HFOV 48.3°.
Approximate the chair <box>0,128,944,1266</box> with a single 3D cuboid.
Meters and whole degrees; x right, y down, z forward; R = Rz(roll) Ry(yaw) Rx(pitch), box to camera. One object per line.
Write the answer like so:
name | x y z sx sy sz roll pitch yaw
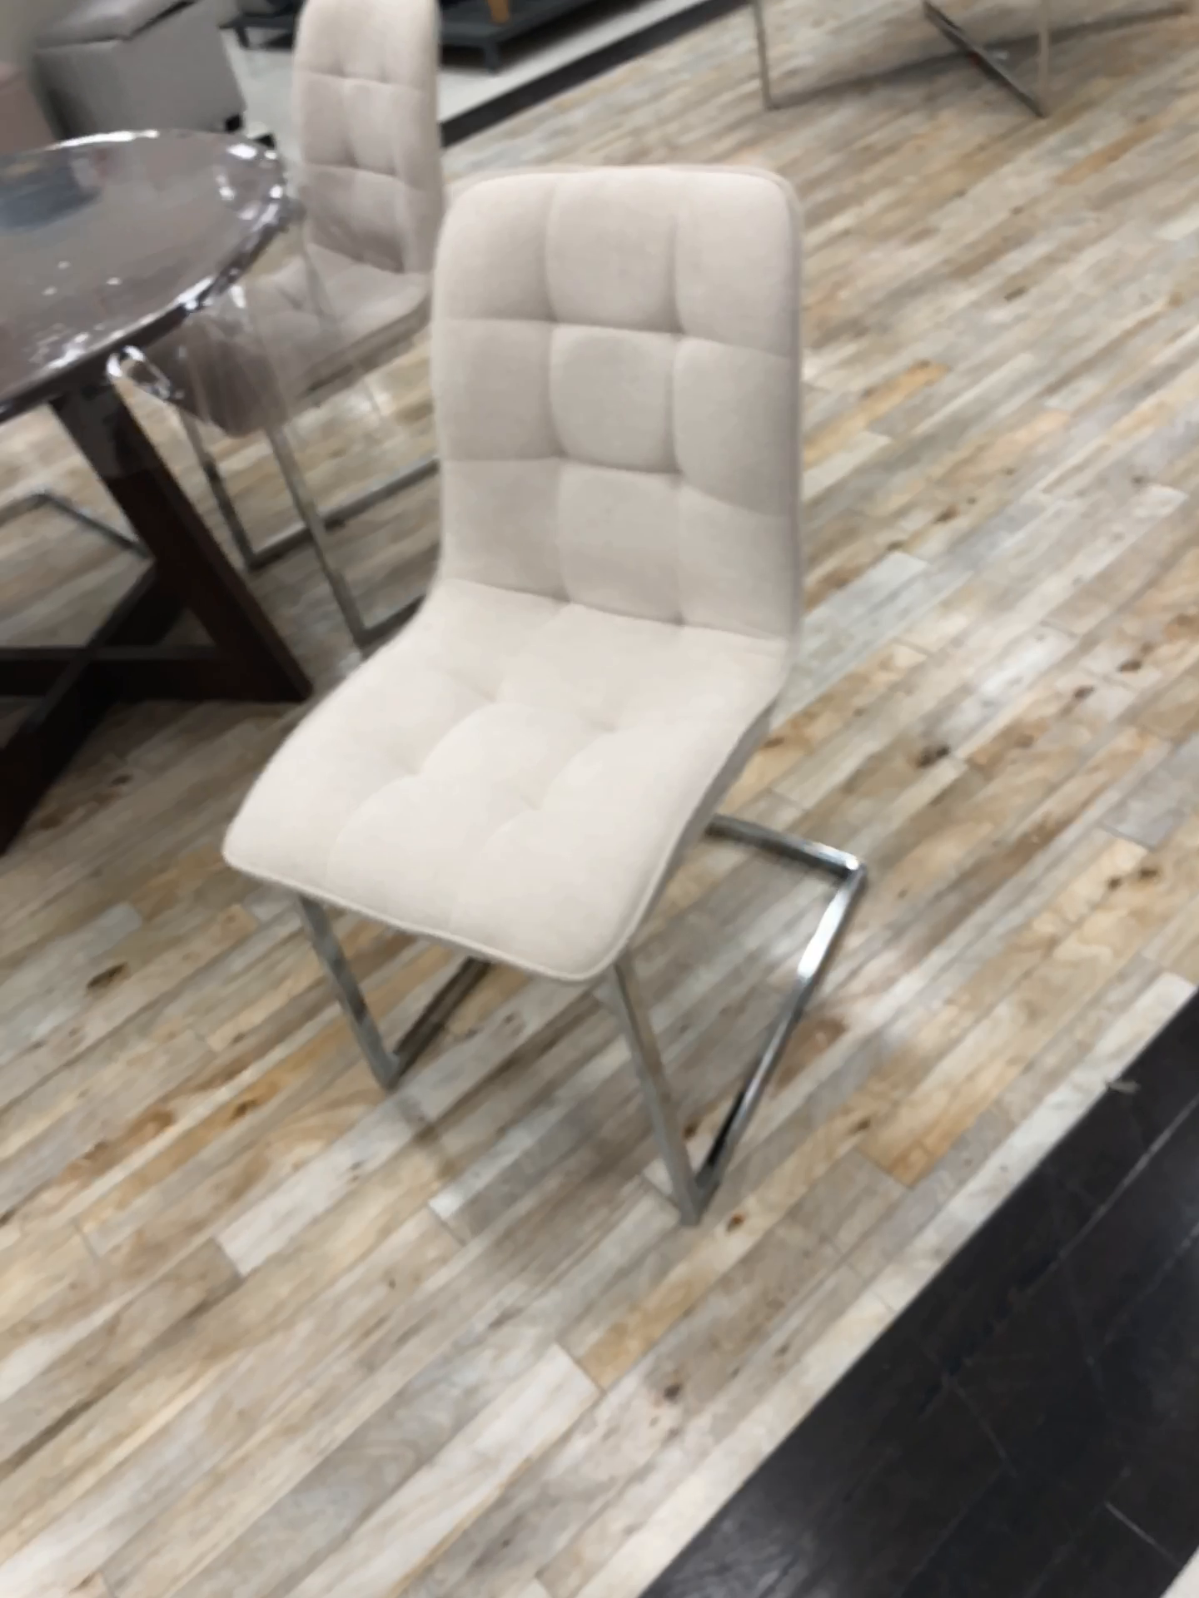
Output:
chair | -0.029 -0.101 1.313 0.491 0.837 0.591 16 50 32
